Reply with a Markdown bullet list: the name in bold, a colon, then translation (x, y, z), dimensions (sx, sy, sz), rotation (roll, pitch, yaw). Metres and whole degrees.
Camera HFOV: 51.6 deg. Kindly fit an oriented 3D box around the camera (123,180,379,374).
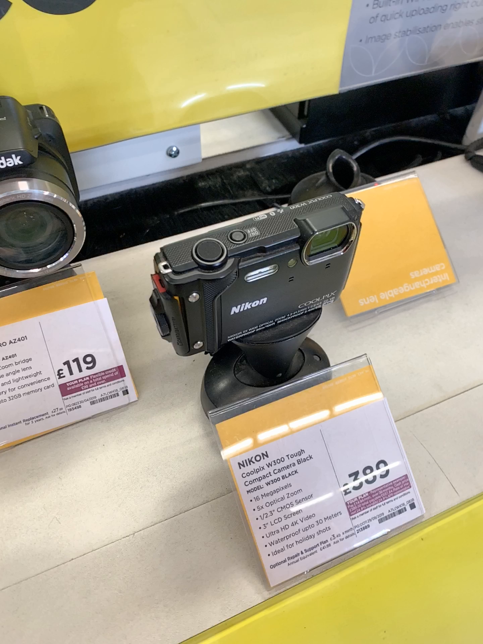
- **camera**: translation (0.006, -0.023, 0.264), dimensions (0.120, 0.069, 0.030), rotation (-19, 55, -15)
